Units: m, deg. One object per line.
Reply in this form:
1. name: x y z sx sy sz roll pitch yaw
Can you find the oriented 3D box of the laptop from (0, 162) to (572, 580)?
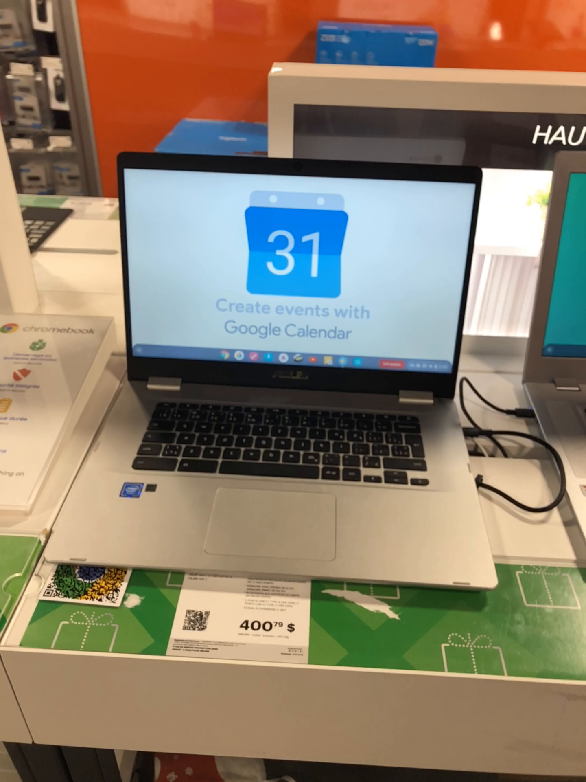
1. laptop: -0.003 -0.036 0.548 0.337 0.225 0.287 3 35 3
